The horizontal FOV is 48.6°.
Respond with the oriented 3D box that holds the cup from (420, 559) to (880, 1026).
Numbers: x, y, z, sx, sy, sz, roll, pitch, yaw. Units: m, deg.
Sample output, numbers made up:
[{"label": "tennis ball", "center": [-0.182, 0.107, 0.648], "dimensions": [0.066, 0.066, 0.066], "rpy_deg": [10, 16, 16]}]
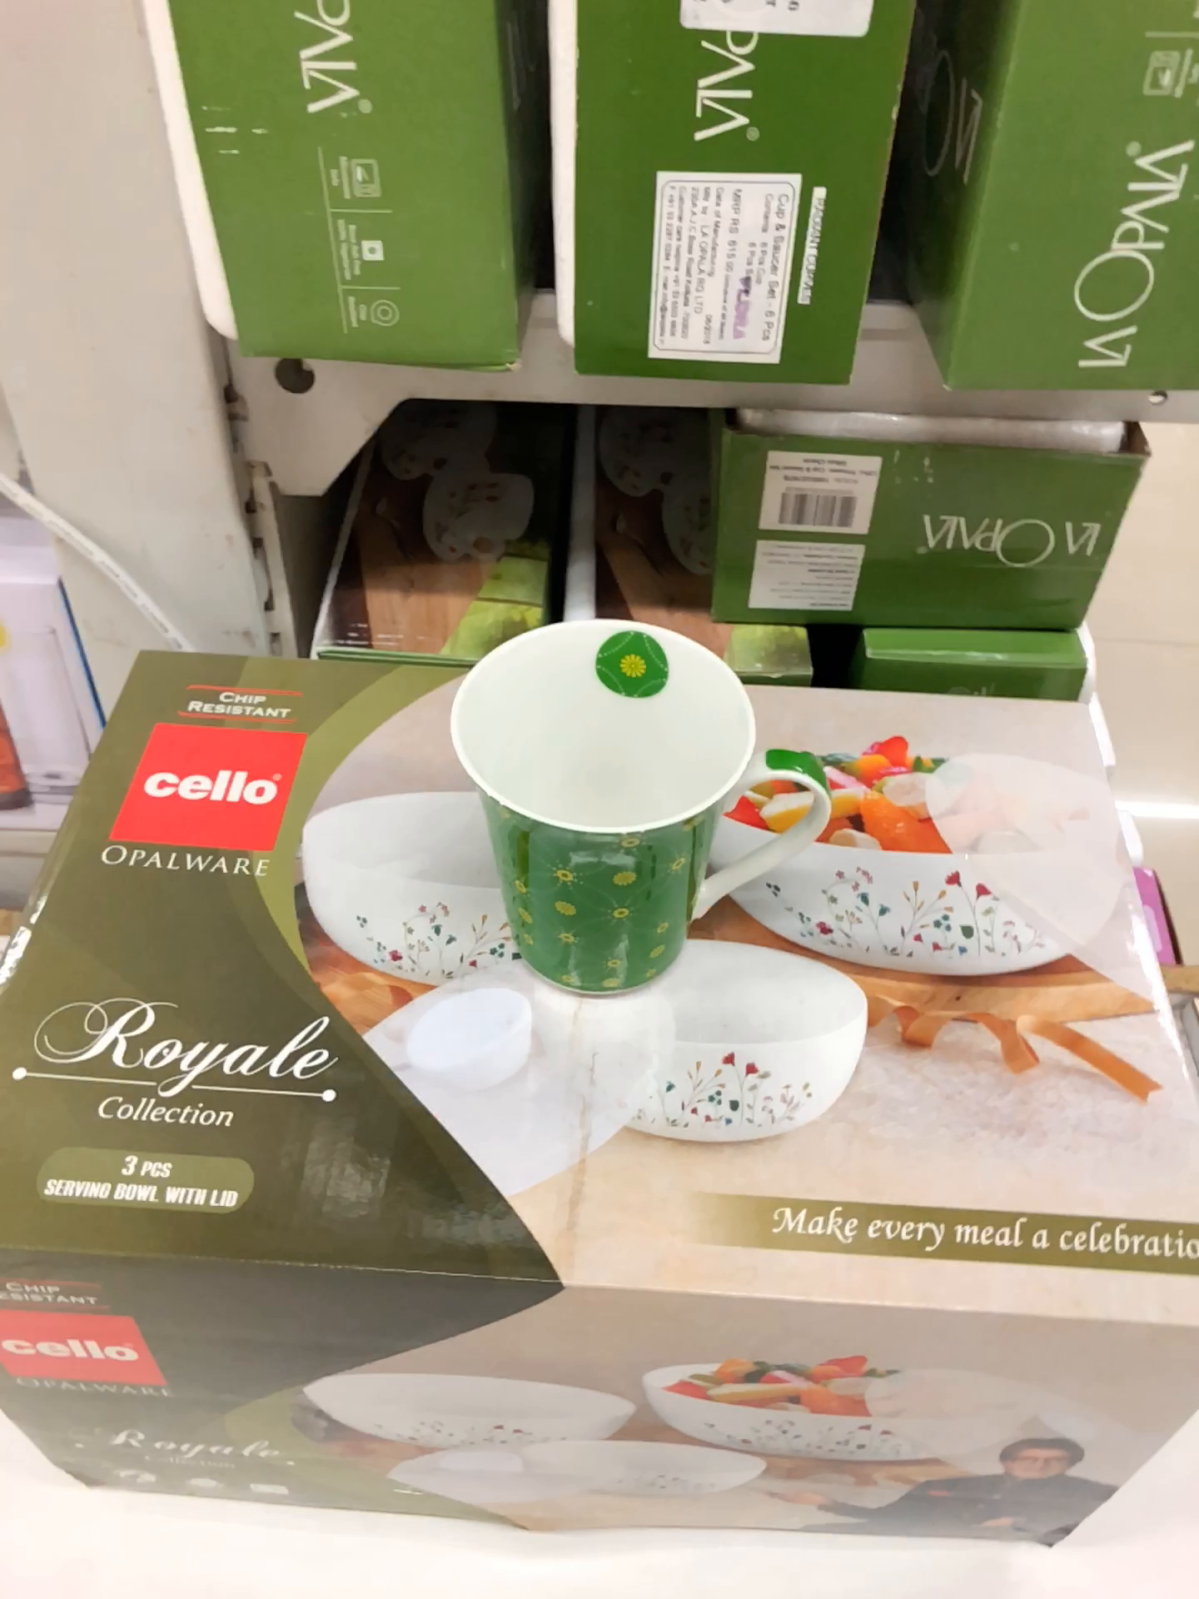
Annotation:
[{"label": "cup", "center": [0.014, -0.002, 0.381], "dimensions": [0.110, 0.089, 0.091], "rpy_deg": [4, 45, 2]}]
